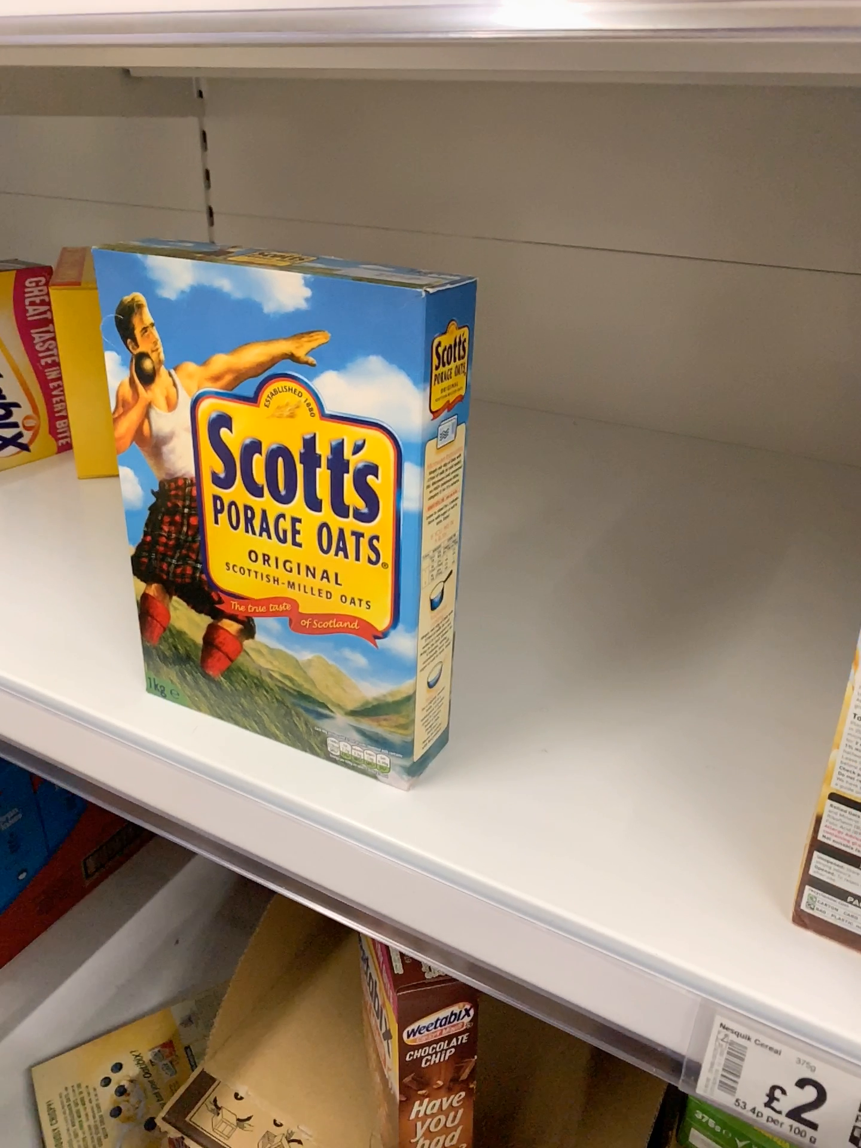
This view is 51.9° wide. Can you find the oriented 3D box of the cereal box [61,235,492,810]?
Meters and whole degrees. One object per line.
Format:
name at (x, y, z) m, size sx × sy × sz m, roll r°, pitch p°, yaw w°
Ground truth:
cereal box at (-0.080, -0.031, 0.482) m, size 0.200 × 0.268 × 0.071 m, roll 15°, pitch 30°, yaw 24°
